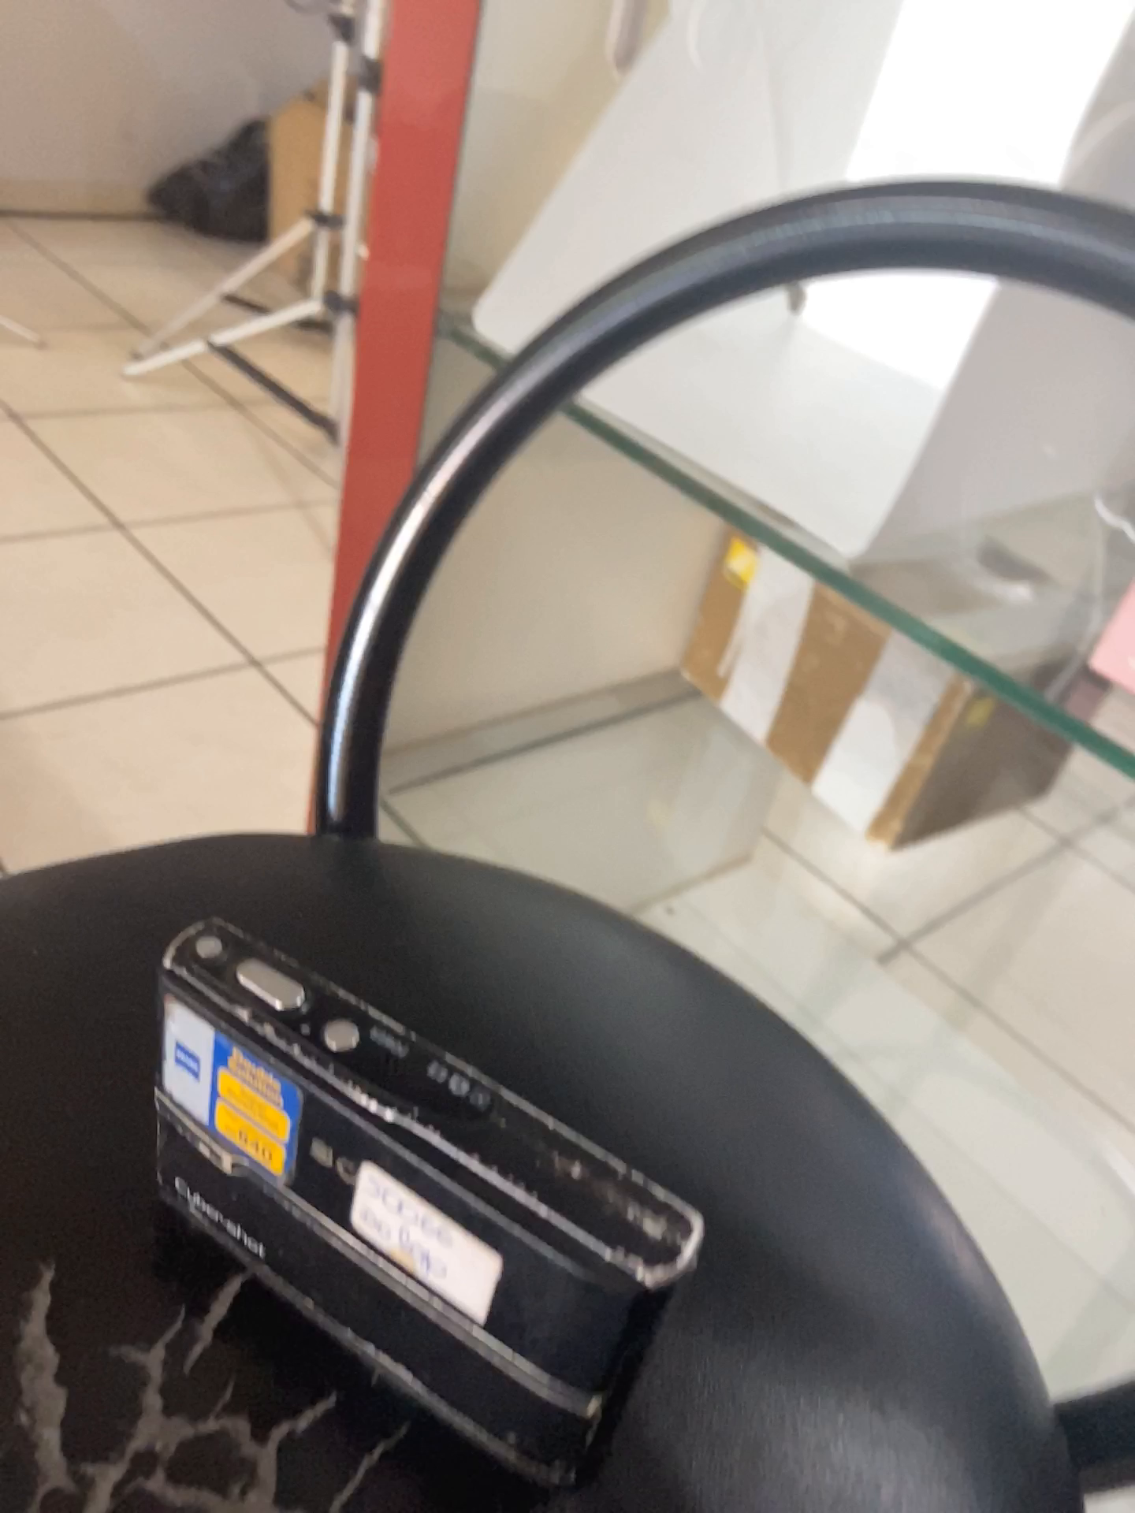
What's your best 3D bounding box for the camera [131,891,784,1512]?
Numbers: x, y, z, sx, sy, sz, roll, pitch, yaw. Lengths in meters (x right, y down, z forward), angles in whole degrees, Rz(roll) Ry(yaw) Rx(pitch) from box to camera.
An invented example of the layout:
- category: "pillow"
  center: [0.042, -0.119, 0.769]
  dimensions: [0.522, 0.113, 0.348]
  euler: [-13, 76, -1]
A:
- category: "camera"
  center: [-0.024, 0.072, 0.185]
  dimensions: [0.100, 0.060, 0.020]
  euler: [27, 35, 19]
